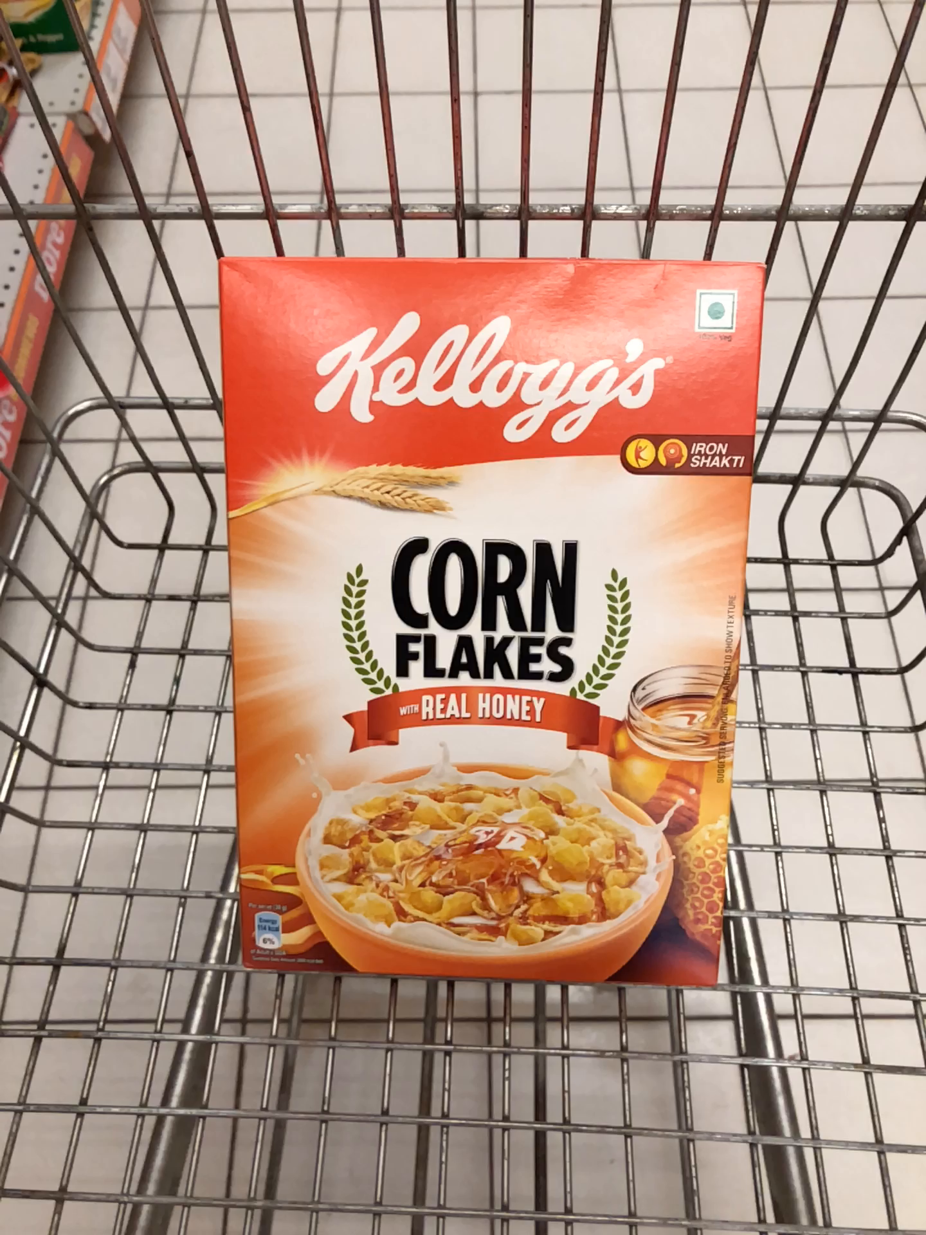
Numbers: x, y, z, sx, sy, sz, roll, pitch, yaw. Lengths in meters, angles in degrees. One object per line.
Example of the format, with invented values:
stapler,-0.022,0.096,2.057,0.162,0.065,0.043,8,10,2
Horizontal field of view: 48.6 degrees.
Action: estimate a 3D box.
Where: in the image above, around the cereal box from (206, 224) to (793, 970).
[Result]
cereal box,0.011,-0.007,0.397,0.190,0.080,0.260,1,101,2
